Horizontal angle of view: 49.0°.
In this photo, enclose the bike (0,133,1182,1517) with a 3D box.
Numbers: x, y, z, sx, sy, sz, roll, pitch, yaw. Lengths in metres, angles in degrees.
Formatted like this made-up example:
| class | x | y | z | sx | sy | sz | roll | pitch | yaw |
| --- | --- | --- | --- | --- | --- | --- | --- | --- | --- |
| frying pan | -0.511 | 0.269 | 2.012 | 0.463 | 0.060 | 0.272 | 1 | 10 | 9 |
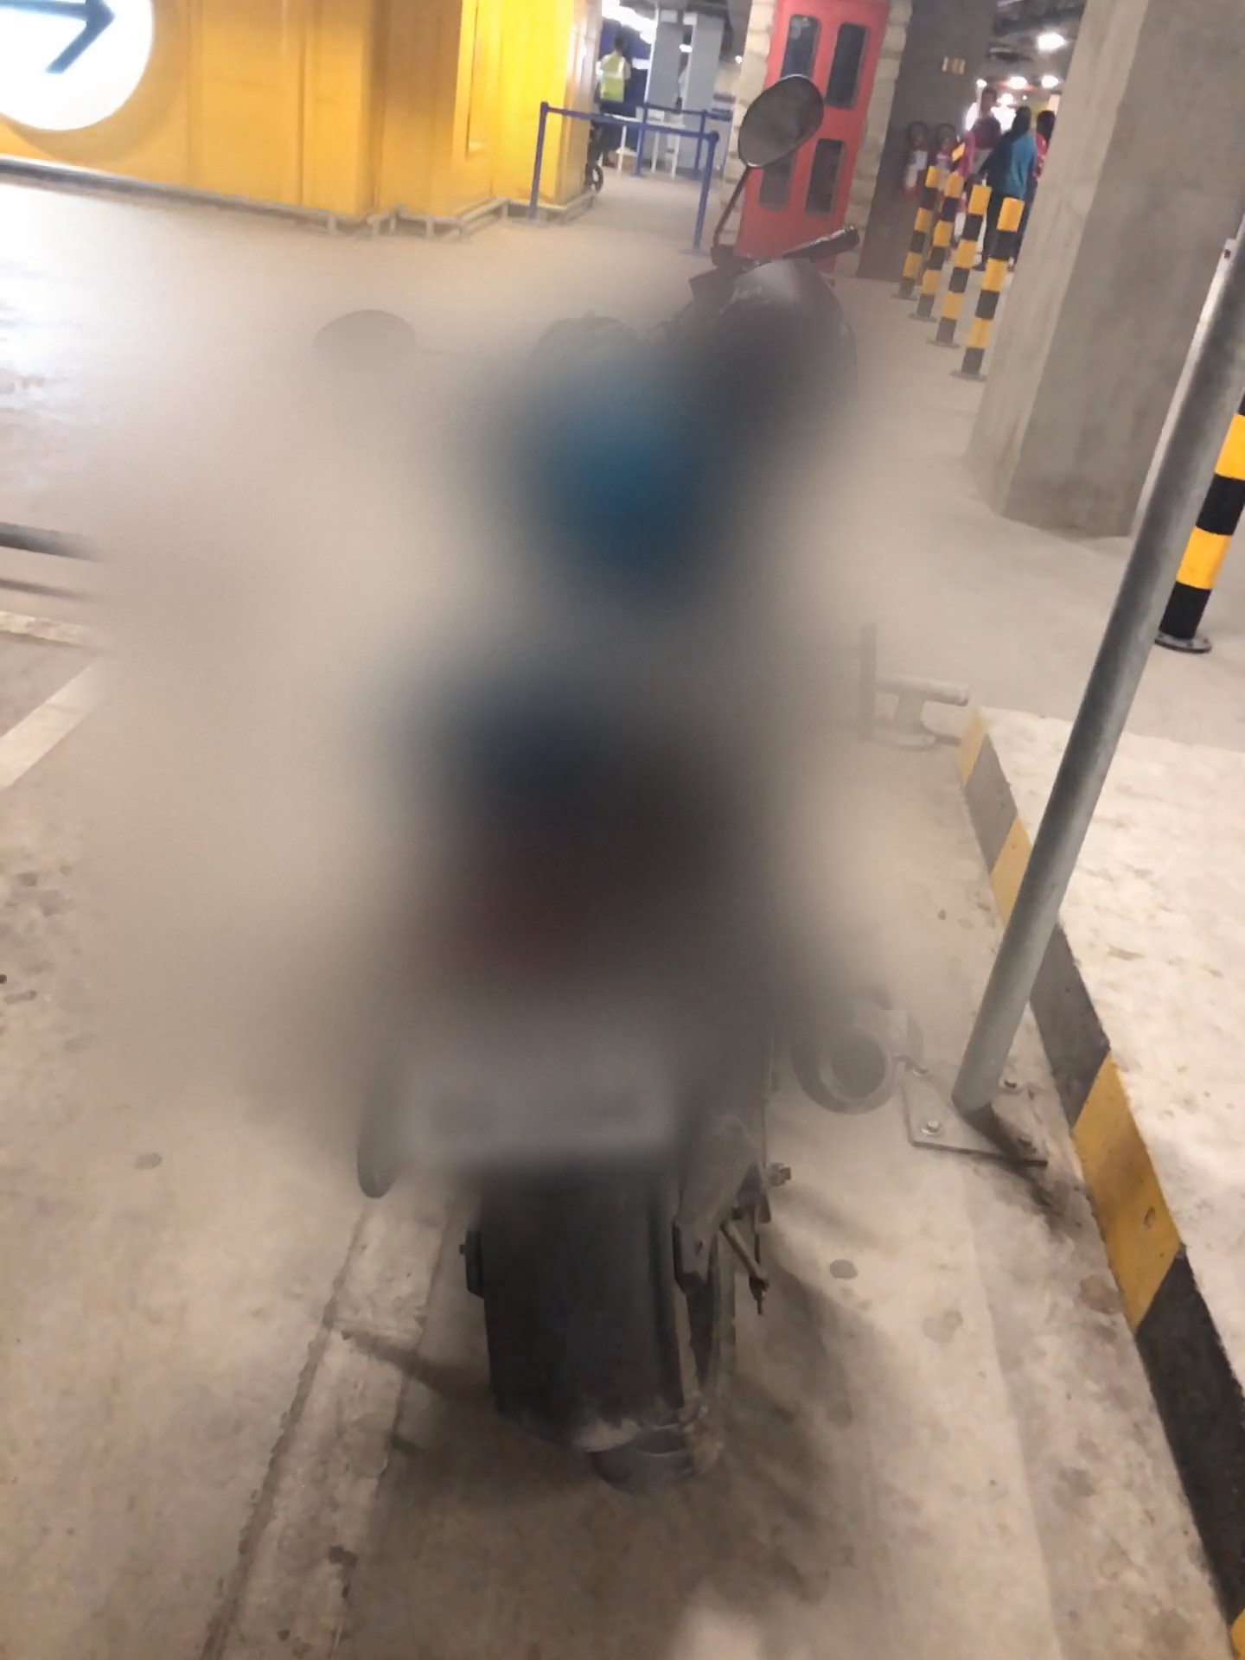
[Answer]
| class | x | y | z | sx | sy | sz | roll | pitch | yaw |
| --- | --- | --- | --- | --- | --- | --- | --- | --- | --- |
| bike | -0.135 | -0.201 | 1.615 | 0.766 | 0.951 | 1.421 | 7 | 29 | -4 |
